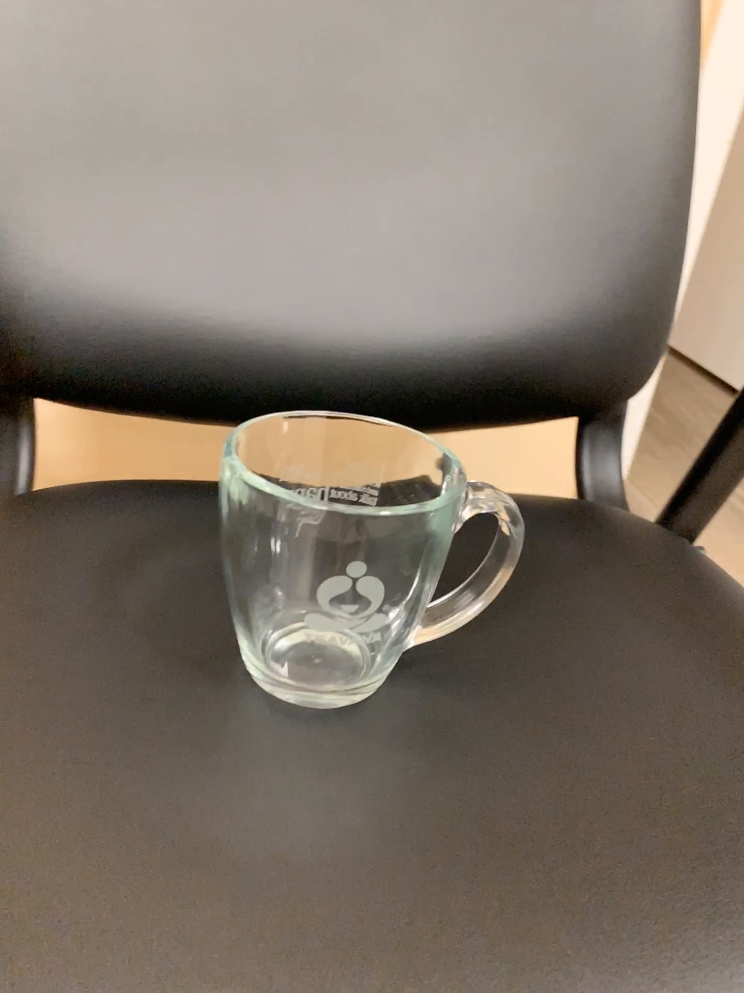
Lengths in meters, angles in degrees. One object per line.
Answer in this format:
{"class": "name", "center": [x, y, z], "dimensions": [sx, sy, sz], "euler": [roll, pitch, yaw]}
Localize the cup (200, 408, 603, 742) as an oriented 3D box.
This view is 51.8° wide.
{"class": "cup", "center": [0.003, 0.027, 0.335], "dimensions": [0.139, 0.100, 0.096], "euler": [0, 26, -19]}
